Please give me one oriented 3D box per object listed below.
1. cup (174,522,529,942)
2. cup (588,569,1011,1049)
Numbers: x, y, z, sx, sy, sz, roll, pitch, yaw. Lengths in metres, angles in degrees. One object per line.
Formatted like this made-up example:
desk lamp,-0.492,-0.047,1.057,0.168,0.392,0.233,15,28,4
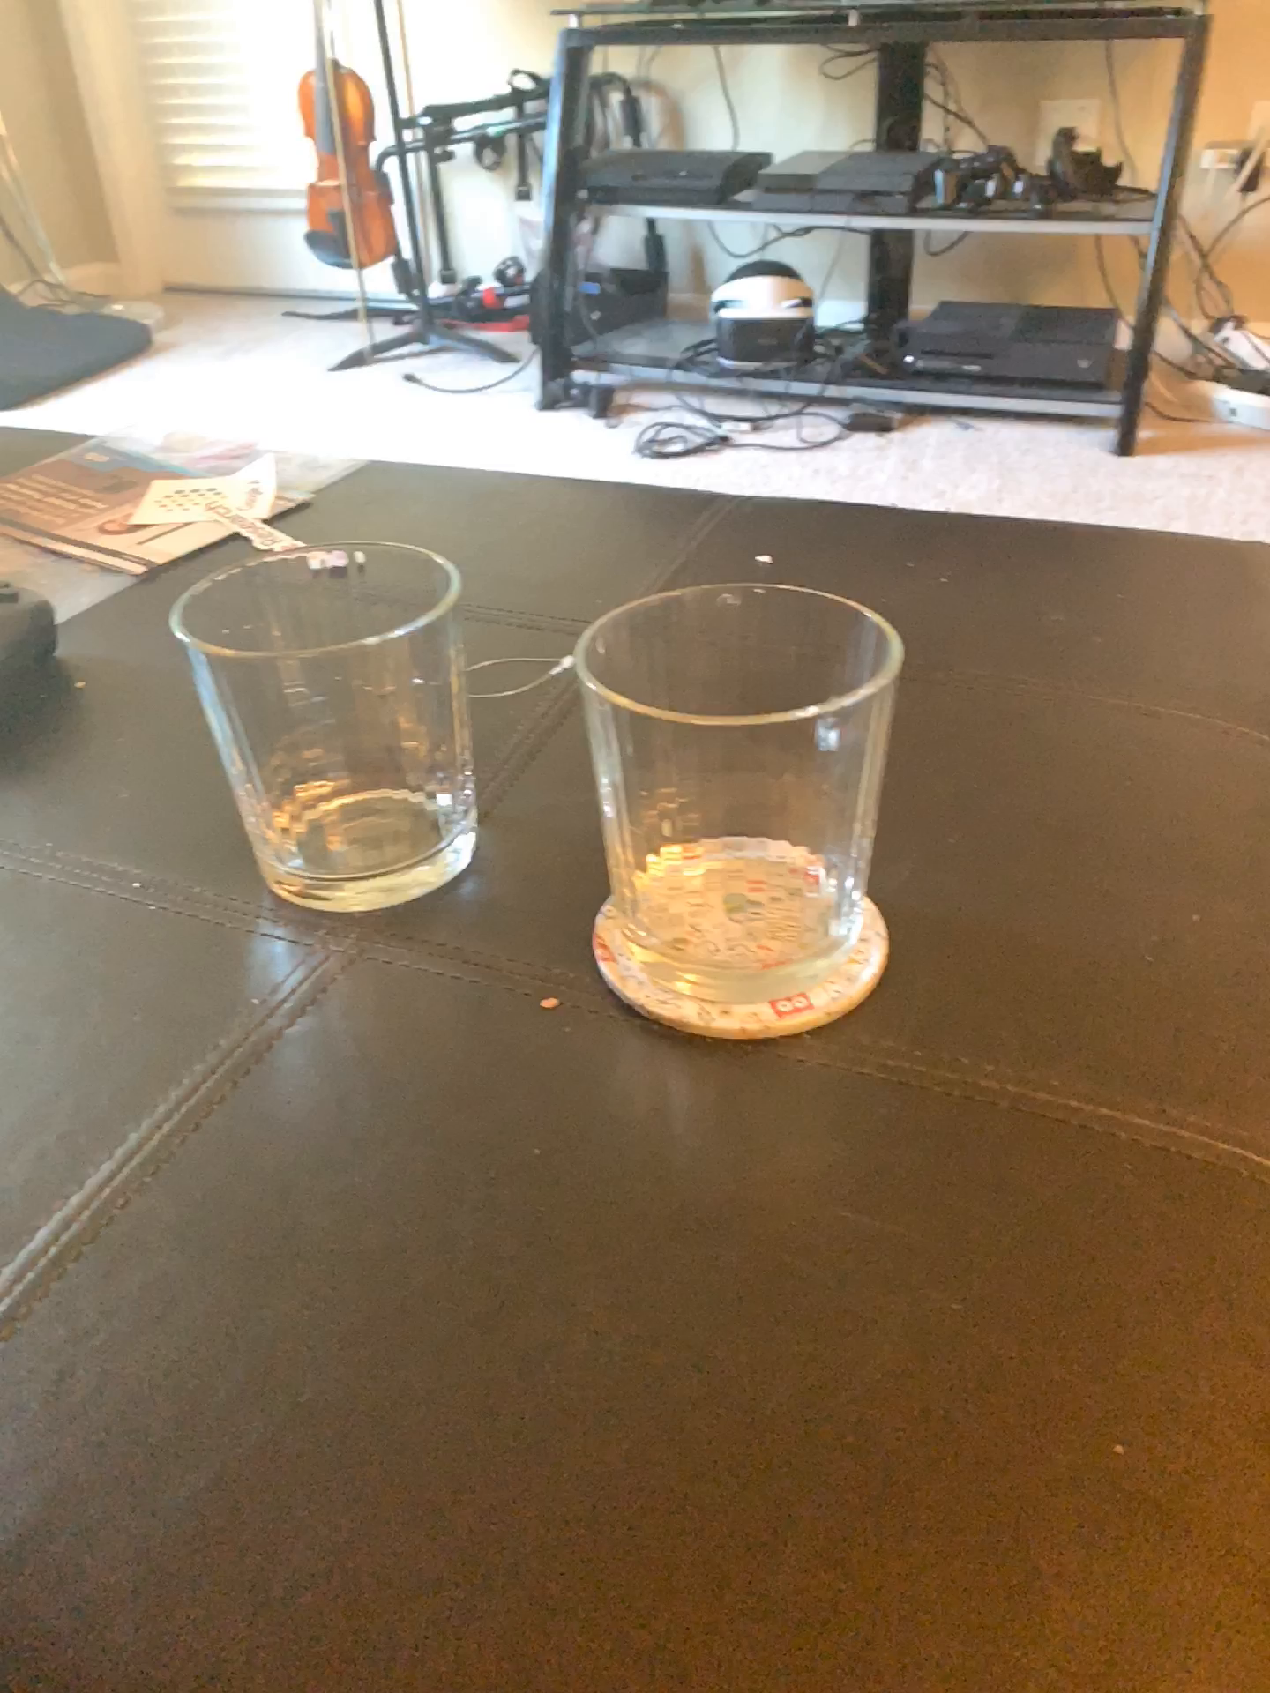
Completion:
cup,-0.094,-0.042,0.441,0.080,0.099,0.080,-2,34,1
cup,0.047,-0.015,0.401,0.090,0.099,0.080,-20,38,-24
